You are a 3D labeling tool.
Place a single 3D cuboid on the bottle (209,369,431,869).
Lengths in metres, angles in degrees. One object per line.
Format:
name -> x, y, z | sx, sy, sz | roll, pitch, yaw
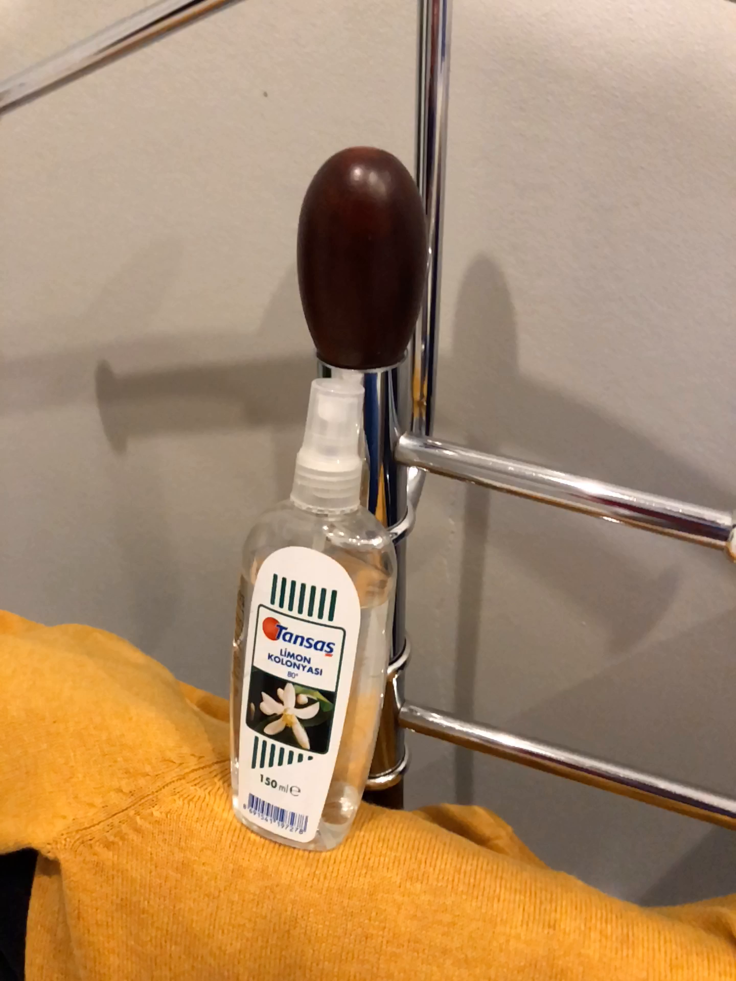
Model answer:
bottle -> -0.019, 0.043, 0.274 | 0.051, 0.158, 0.030 | 13, 17, 22
